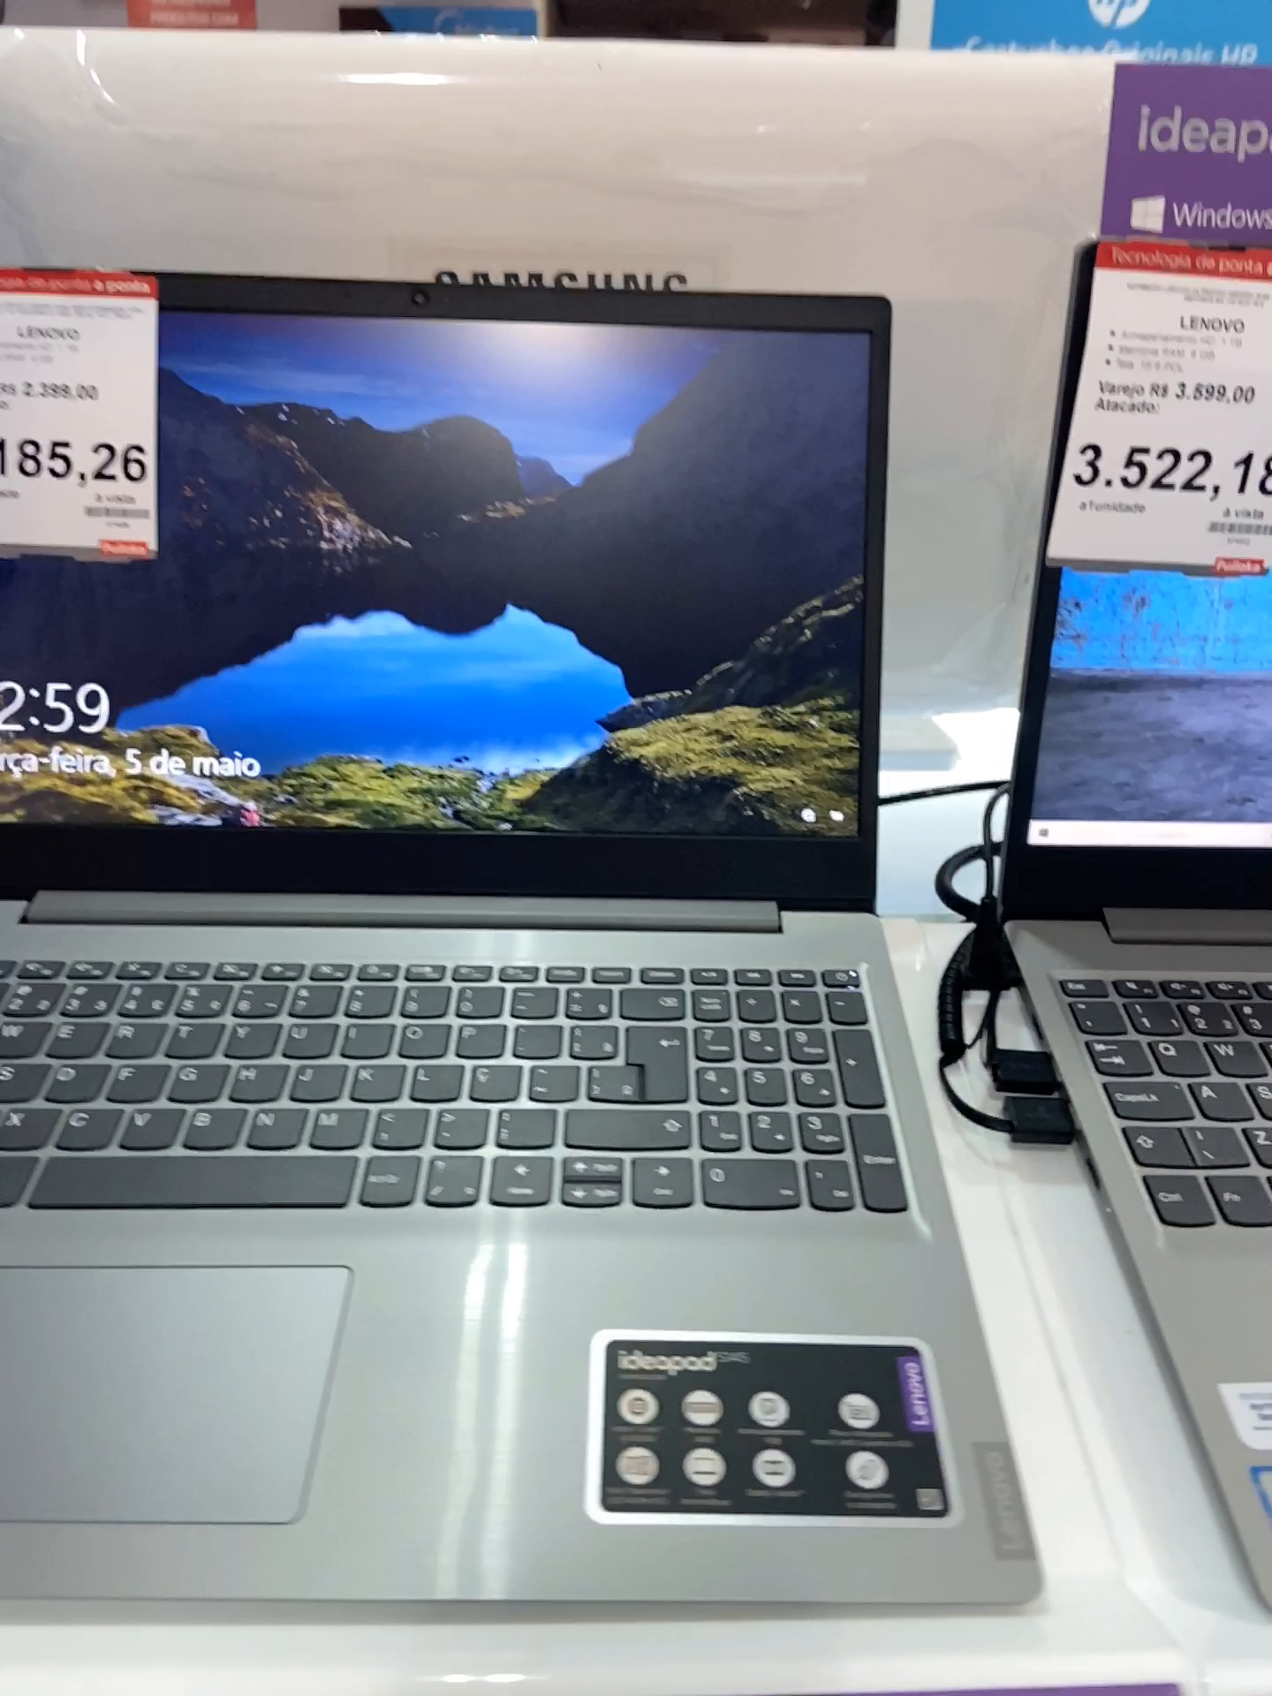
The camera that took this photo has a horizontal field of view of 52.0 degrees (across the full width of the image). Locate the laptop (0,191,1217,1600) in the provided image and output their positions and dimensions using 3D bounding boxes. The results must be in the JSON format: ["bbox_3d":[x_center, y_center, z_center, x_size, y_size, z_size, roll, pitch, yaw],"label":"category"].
[{"bbox_3d":[-0.087,-0.046,0.408,0.358,0.212,0.390,1,33,-1],"label":"laptop"}]
